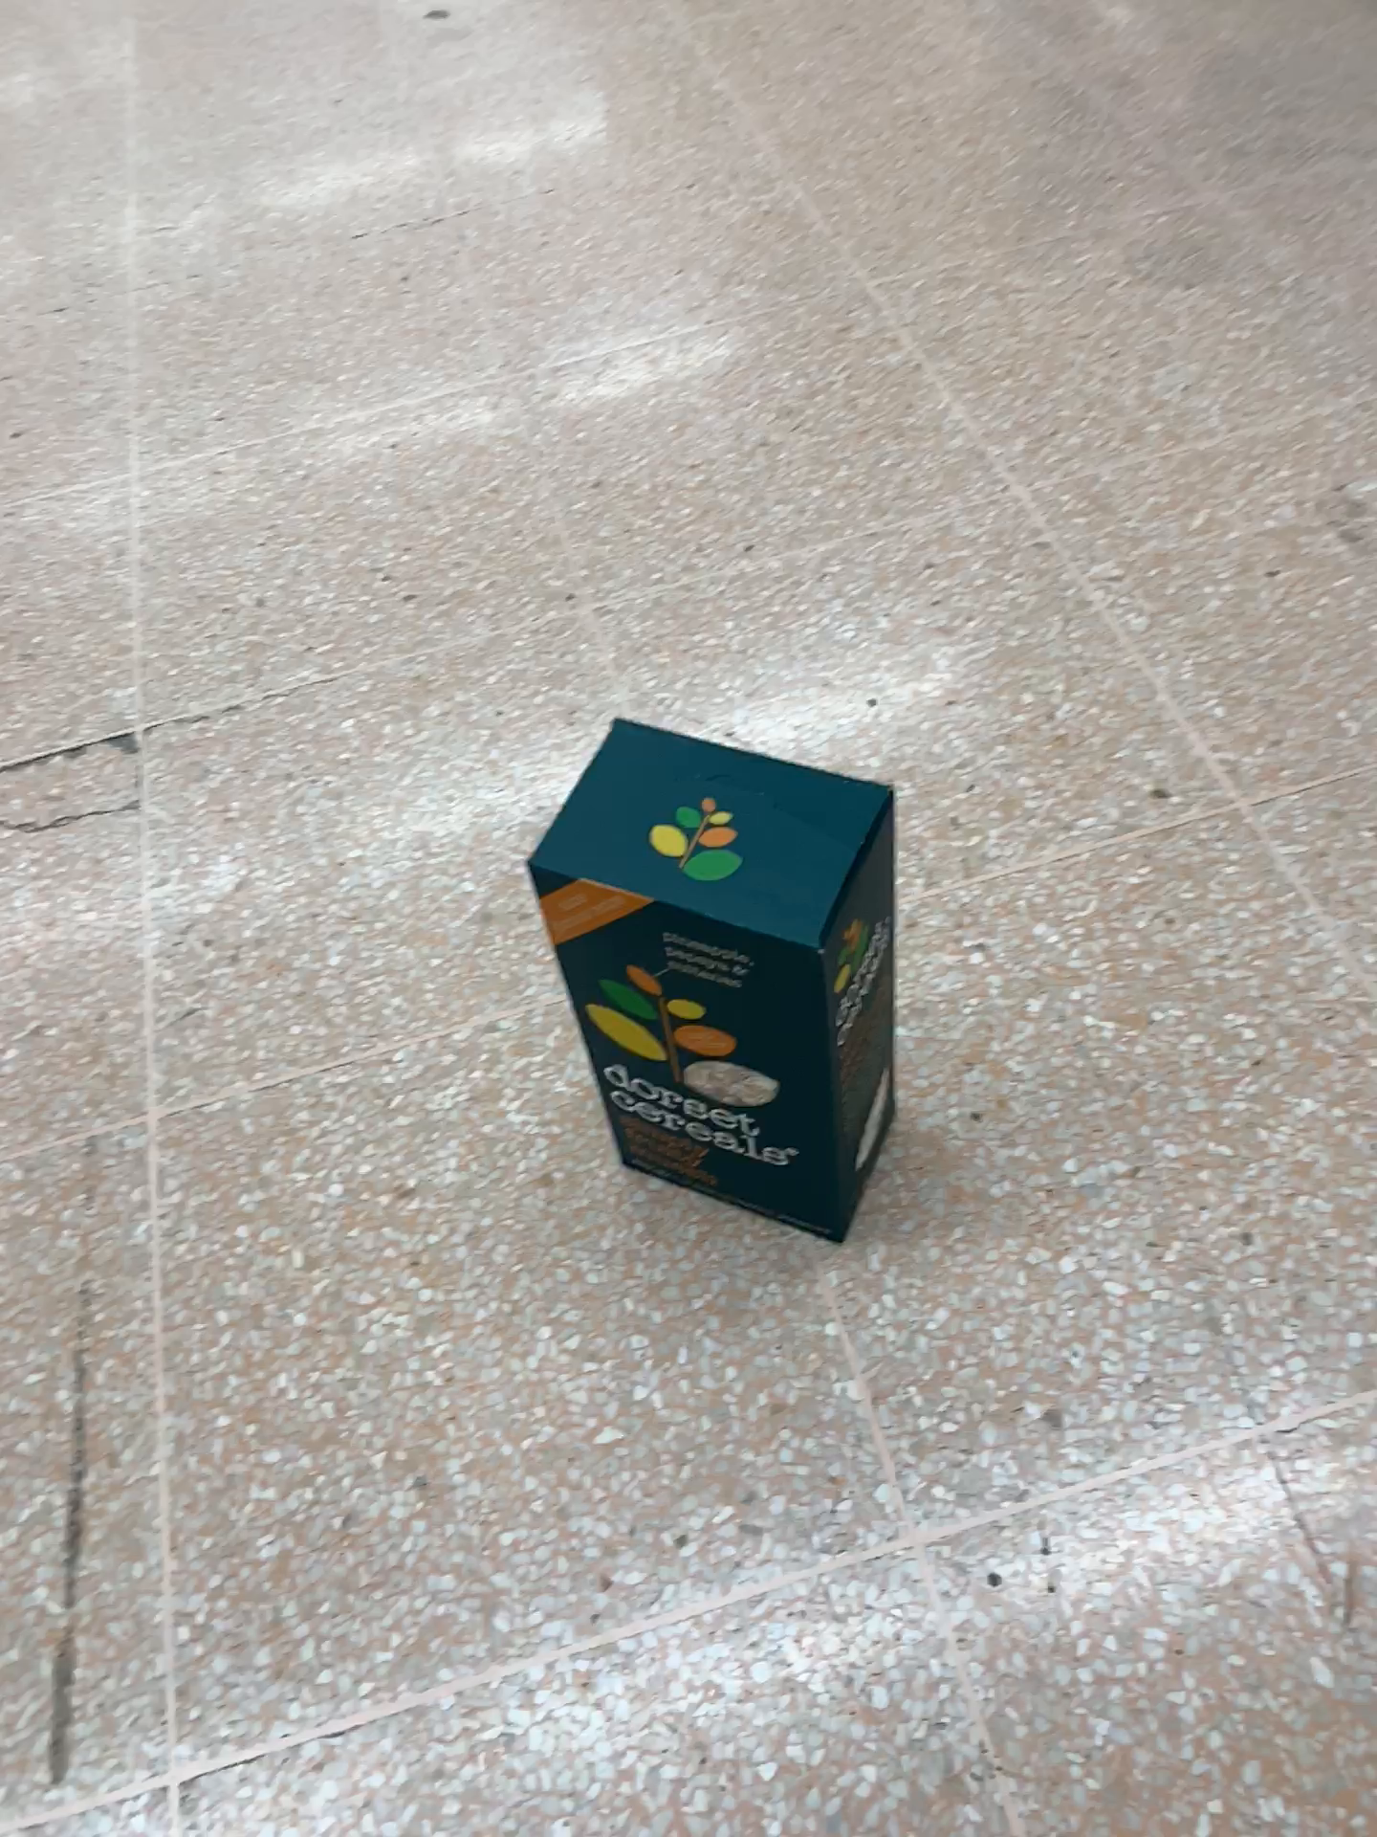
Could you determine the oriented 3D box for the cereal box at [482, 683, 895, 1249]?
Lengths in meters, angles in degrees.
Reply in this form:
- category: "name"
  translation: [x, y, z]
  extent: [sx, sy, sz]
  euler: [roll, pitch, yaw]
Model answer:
- category: "cereal box"
  translation: [0.014, 0.030, 0.577]
  extent: [0.120, 0.238, 0.080]
  euler: [16, 57, 20]
